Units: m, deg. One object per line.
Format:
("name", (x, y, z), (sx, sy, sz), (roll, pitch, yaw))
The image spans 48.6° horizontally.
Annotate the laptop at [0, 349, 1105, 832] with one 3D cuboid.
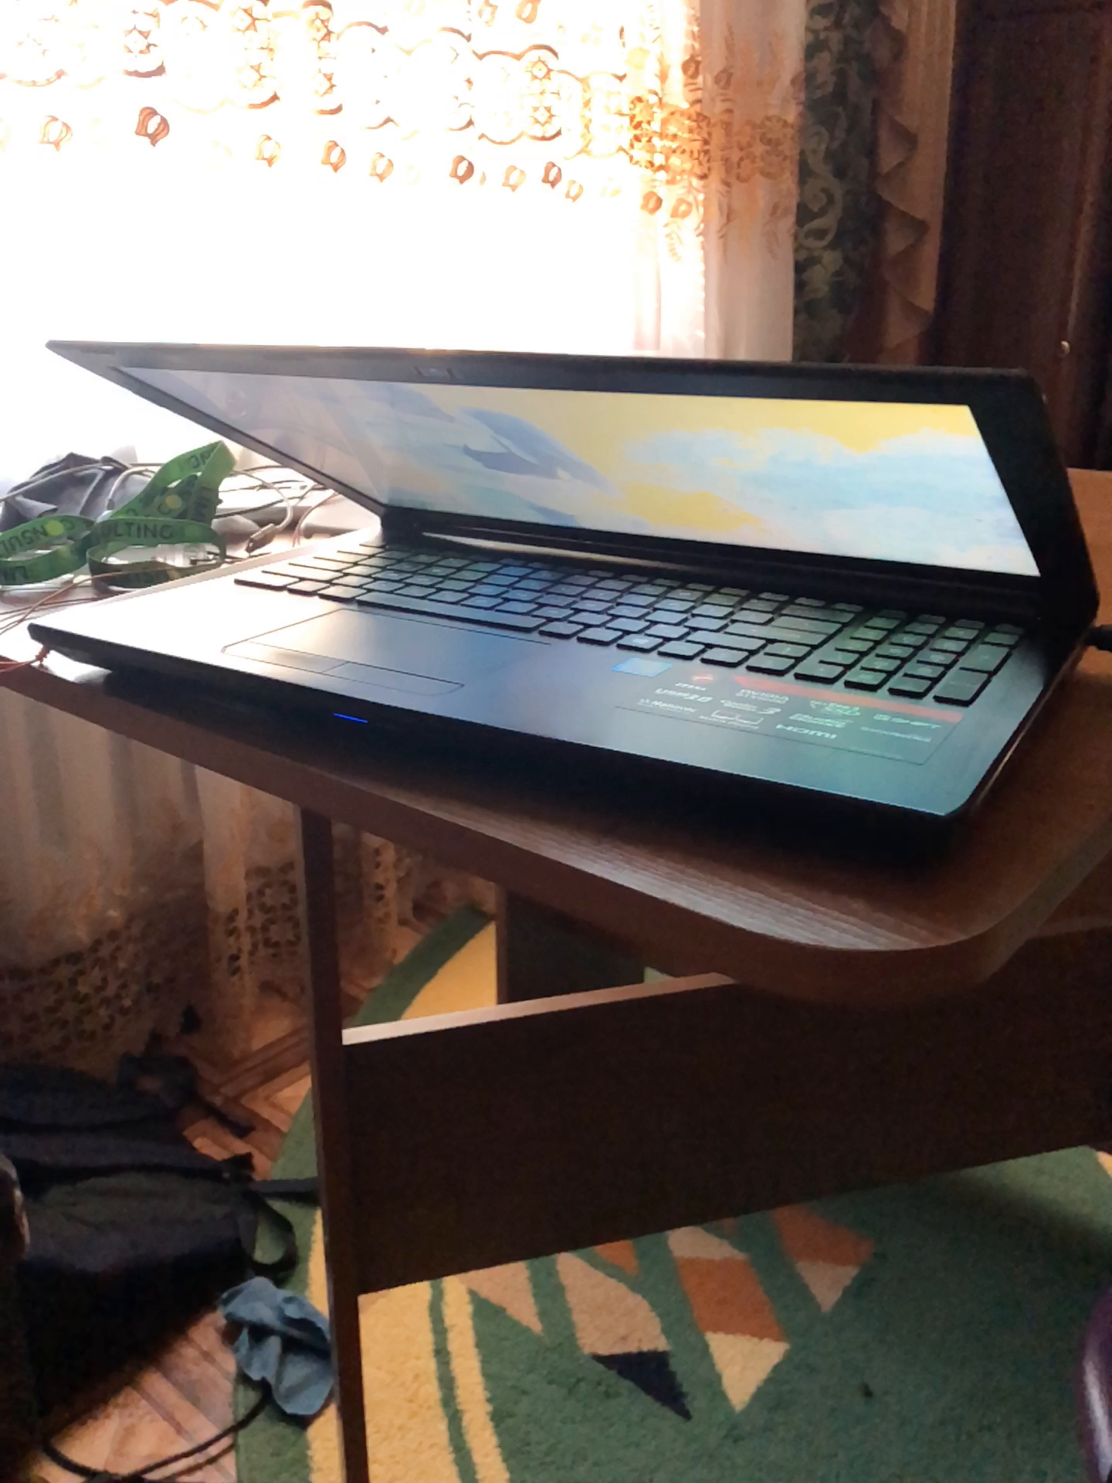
("laptop", (-0.005, -0.094, 0.481), (0.372, 0.095, 0.239), (11, 24, 30))
